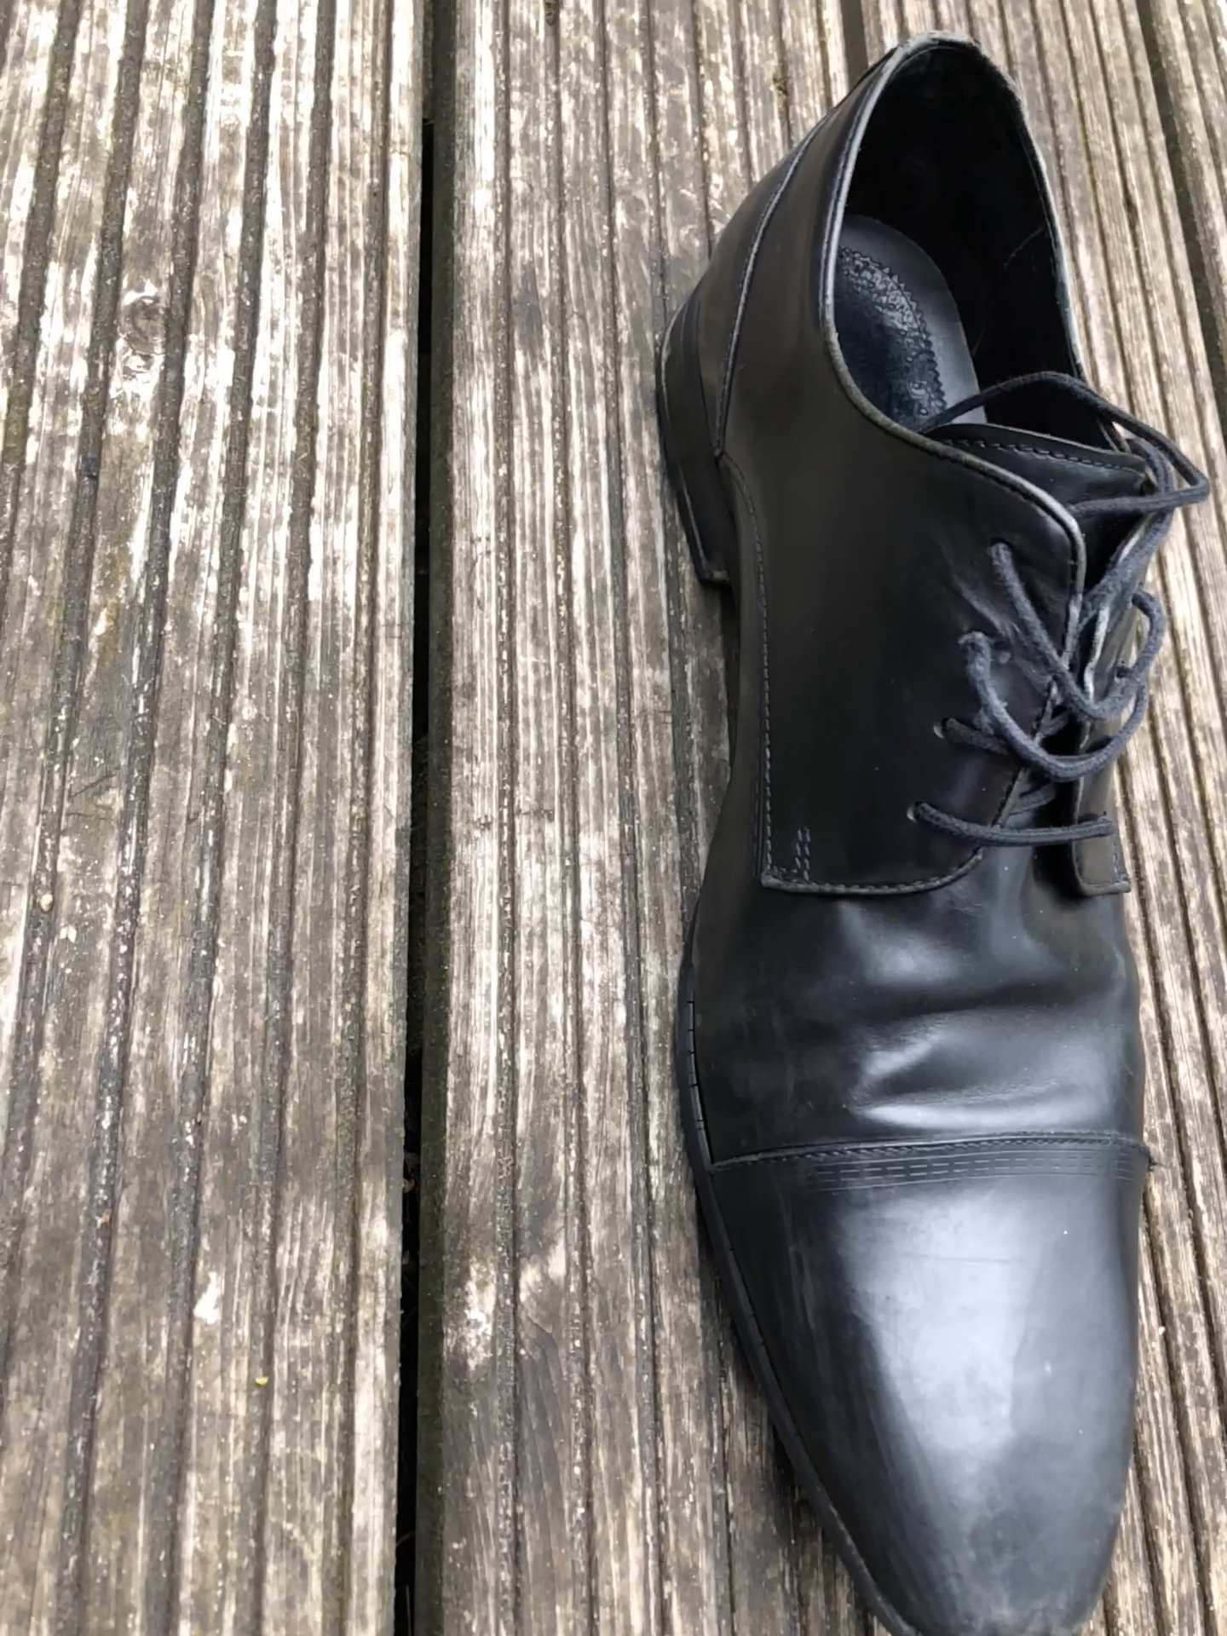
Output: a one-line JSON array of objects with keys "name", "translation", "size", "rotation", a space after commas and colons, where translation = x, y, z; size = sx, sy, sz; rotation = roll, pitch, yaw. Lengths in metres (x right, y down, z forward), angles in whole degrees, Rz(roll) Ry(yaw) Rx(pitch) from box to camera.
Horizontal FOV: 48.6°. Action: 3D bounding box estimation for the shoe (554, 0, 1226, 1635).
[{"name": "shoe", "translation": [0.062, -0.012, 0.291], "size": [0.090, 0.149, 0.341], "rotation": [4, 71, -22]}]
